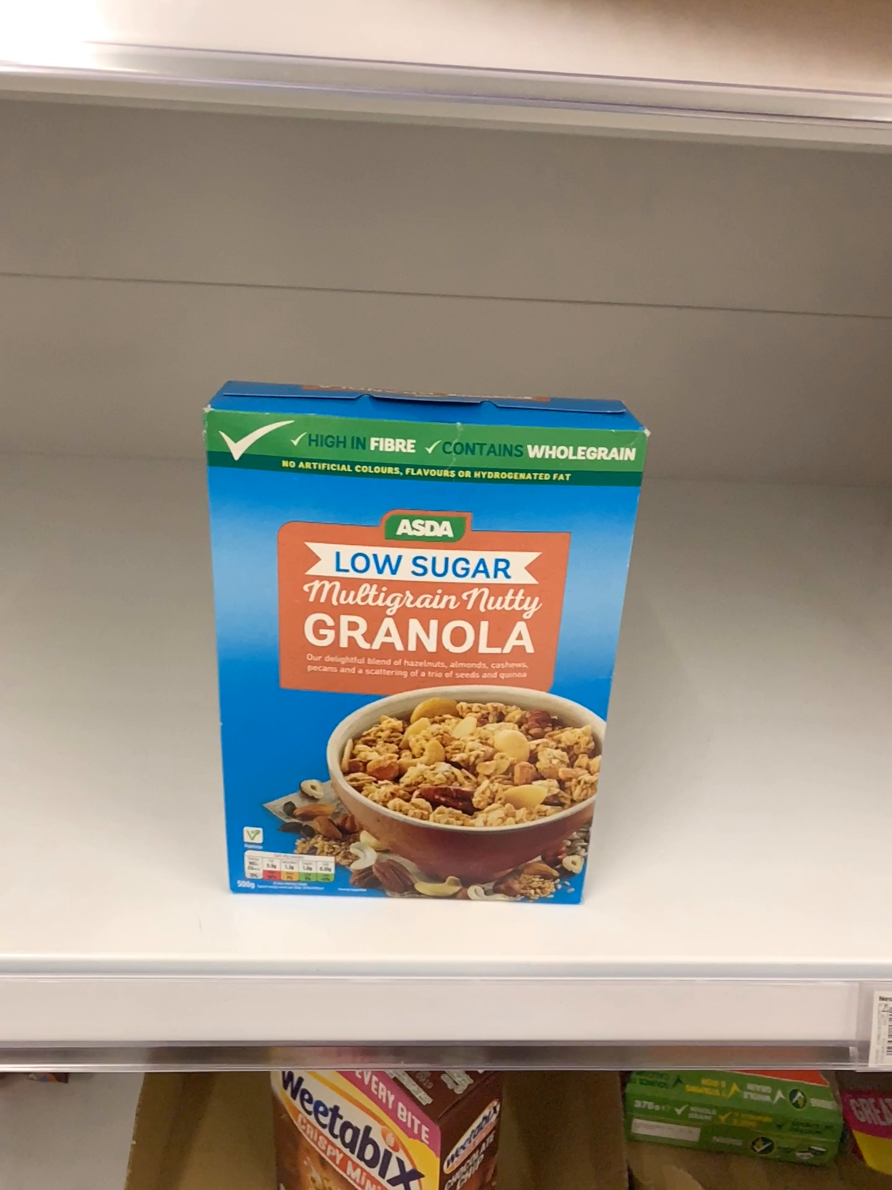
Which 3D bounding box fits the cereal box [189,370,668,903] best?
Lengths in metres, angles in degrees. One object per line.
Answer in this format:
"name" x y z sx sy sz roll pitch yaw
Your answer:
"cereal box" -0.013 0.028 0.443 0.190 0.248 0.061 3 25 -2
